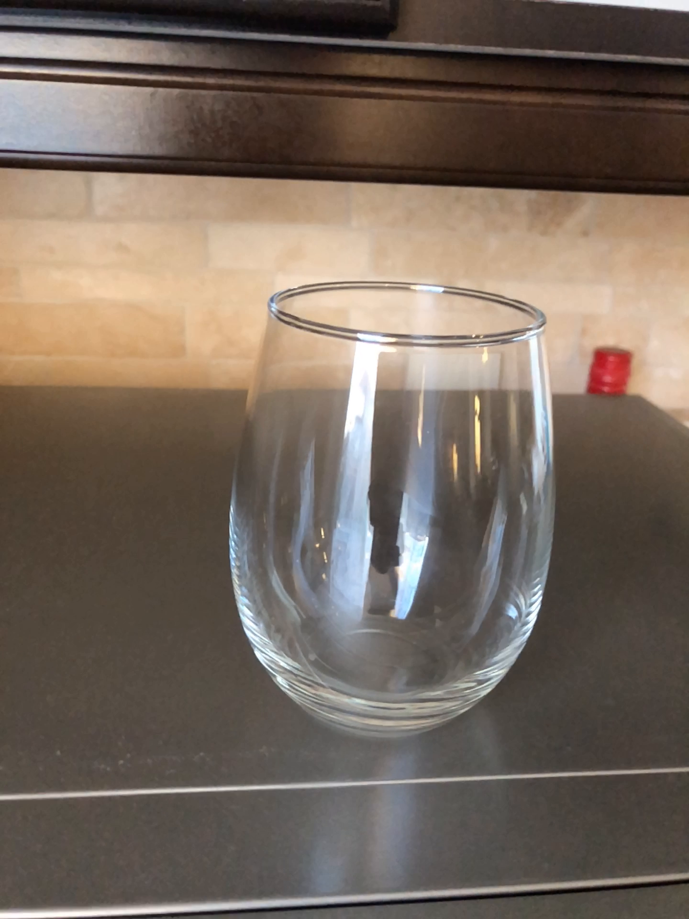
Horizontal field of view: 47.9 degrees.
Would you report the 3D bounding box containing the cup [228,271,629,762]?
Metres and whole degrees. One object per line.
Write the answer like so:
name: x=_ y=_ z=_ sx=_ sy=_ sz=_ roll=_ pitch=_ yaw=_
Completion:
cup: x=0.012 y=0.008 z=0.215 sx=0.078 sy=0.104 sz=0.083 roll=2 pitch=22 yaw=-1
